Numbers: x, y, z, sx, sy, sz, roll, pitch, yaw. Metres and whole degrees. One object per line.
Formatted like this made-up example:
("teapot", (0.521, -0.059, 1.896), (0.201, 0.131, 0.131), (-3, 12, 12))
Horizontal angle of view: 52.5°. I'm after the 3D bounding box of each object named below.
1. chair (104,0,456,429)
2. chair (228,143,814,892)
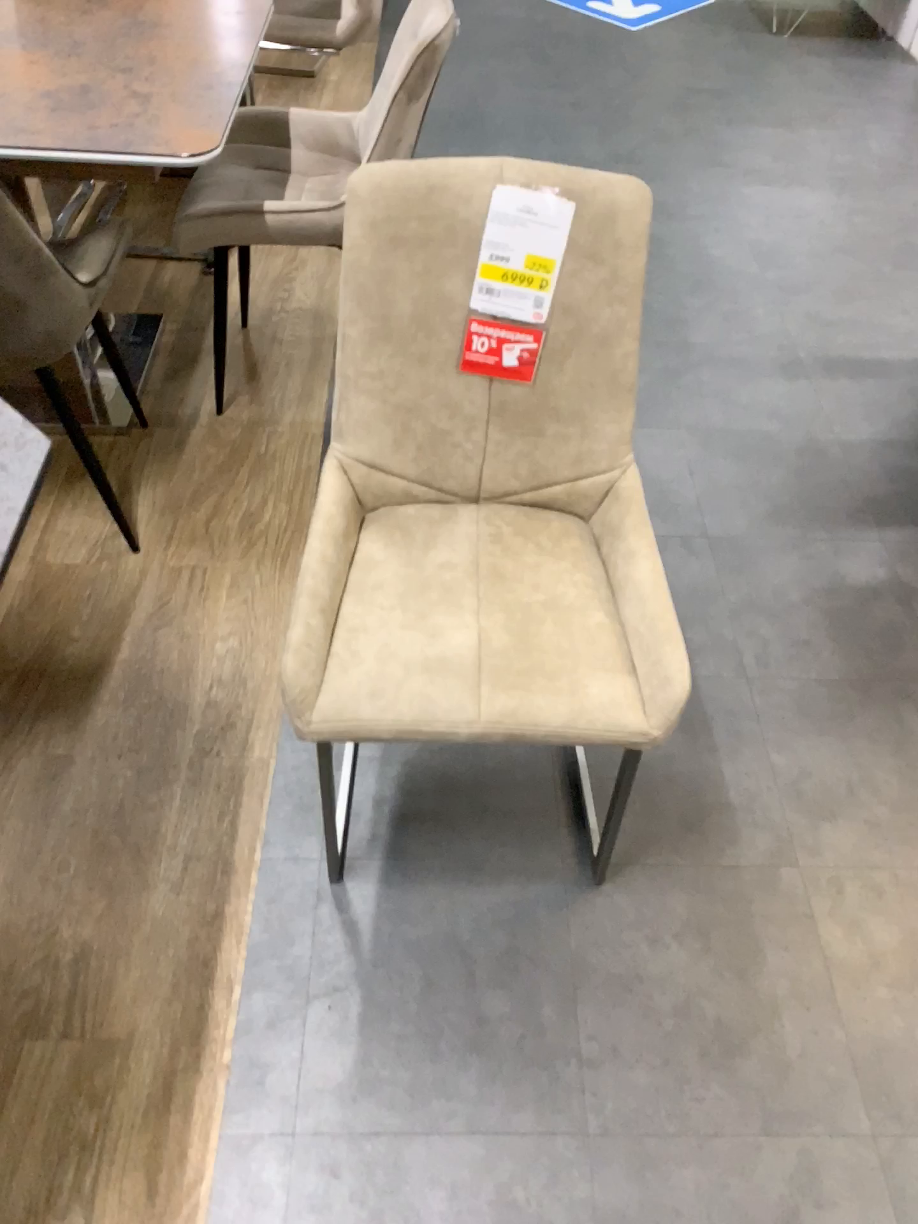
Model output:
("chair", (-0.336, -0.921, 2.131), (0.623, 0.842, 0.482), (2, 47, -2))
("chair", (0.030, -0.081, 1.330), (0.510, 0.888, 0.586), (0, 47, -3))
